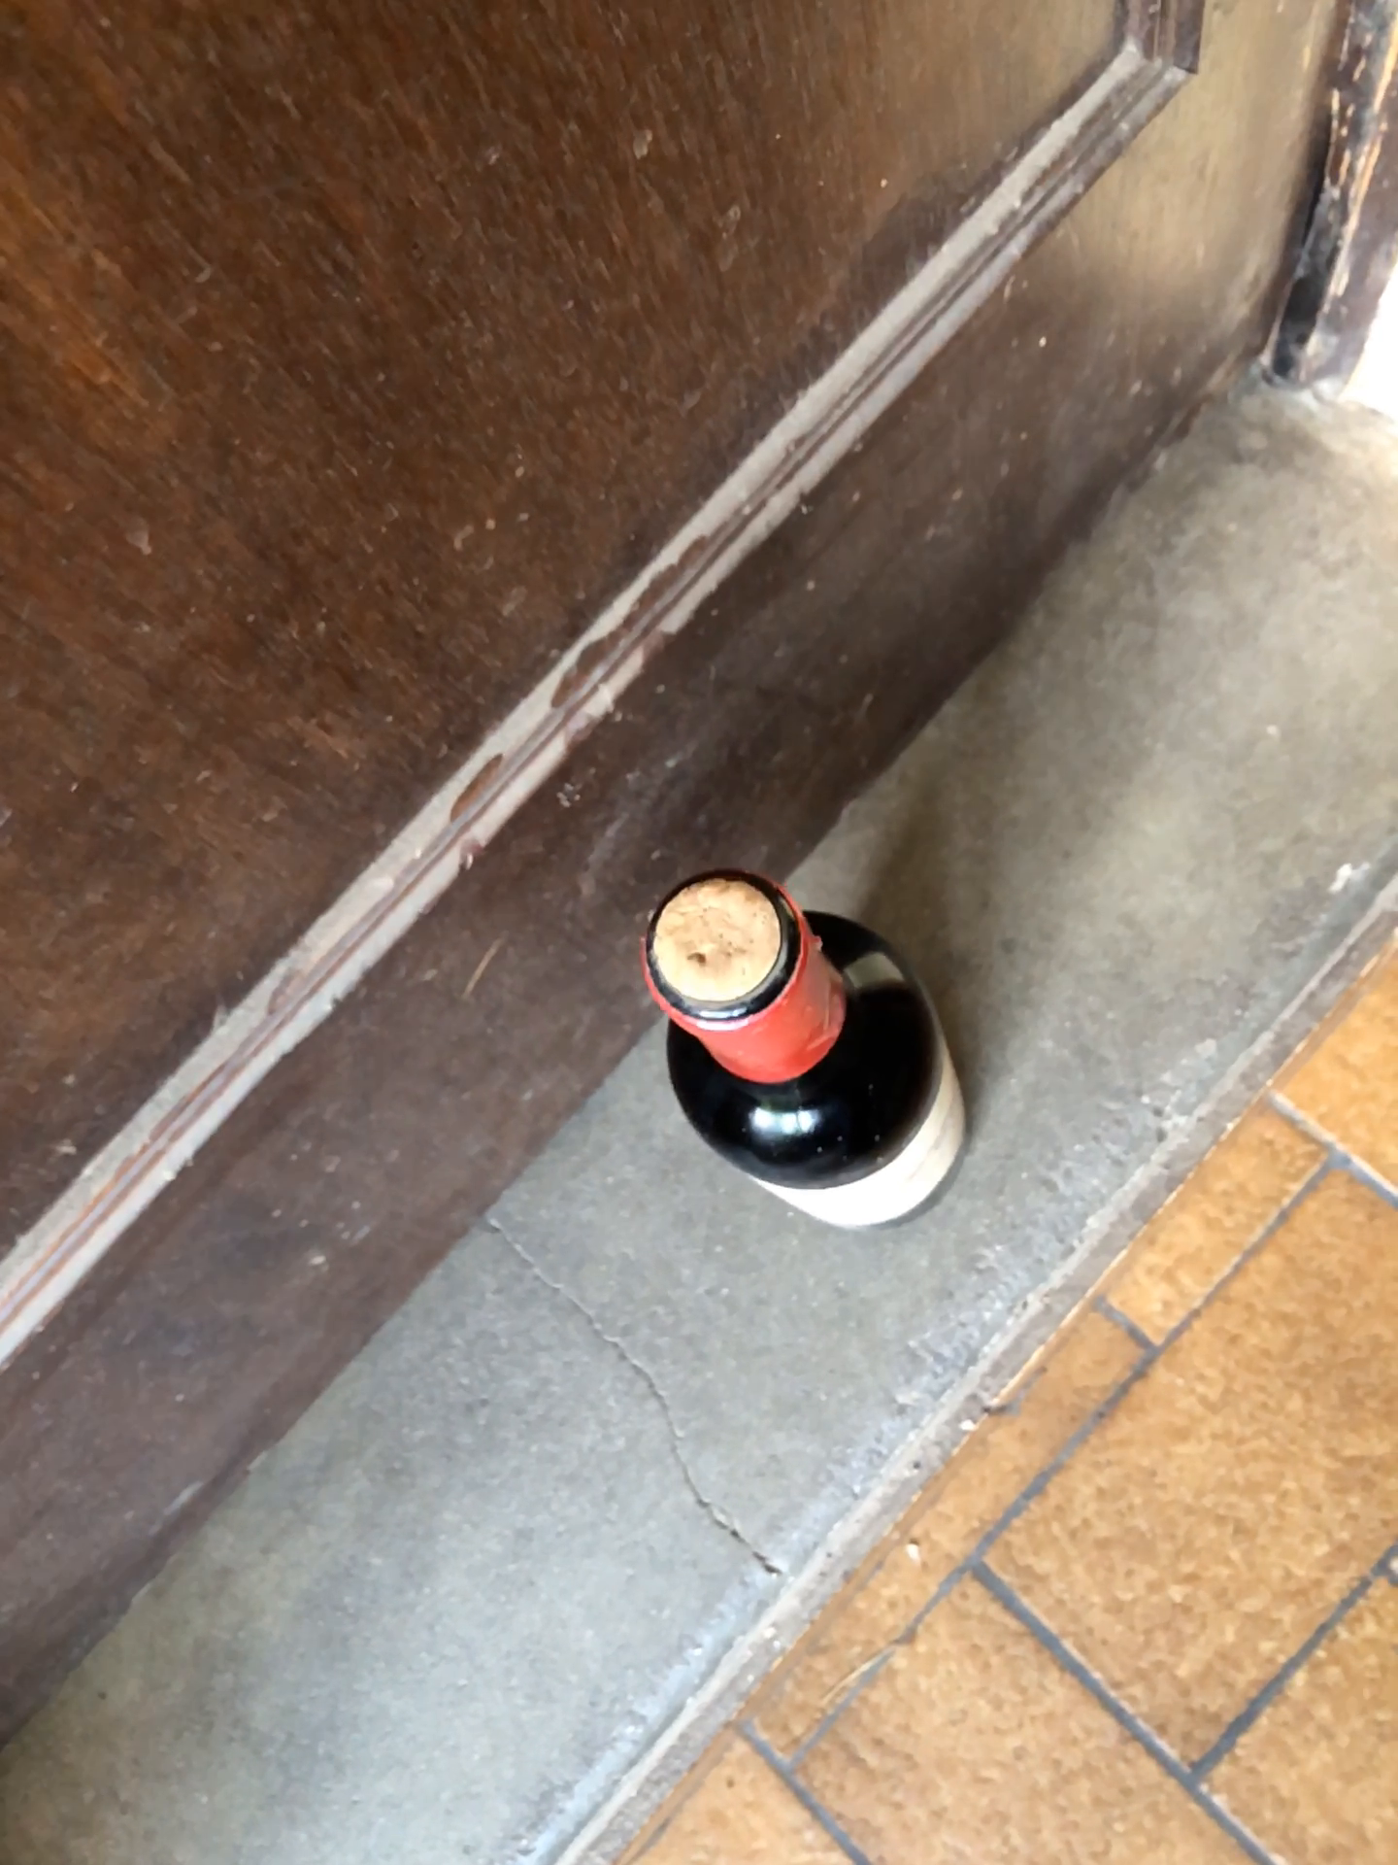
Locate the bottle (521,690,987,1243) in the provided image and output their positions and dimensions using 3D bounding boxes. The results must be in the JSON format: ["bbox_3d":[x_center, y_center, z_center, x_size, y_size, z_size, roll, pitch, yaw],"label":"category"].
[{"bbox_3d":[0.030,0.025,0.368,0.060,0.240,0.070,6,77,14],"label":"bottle"}]
